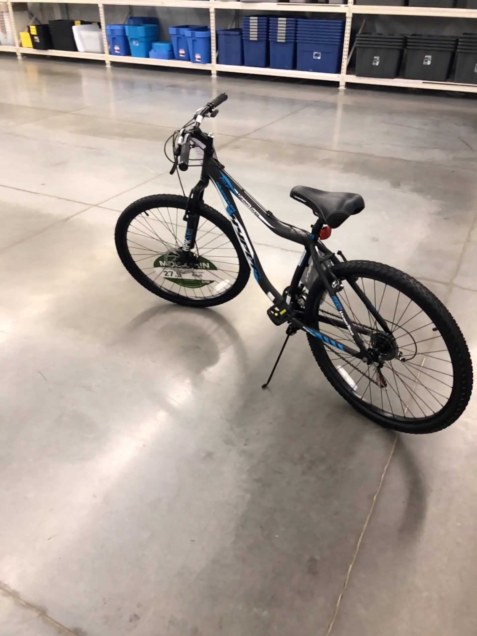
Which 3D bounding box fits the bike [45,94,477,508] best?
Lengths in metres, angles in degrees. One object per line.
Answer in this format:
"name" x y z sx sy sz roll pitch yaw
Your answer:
"bike" 0.069 -0.214 1.983 1.638 0.987 0.573 24 39 34
